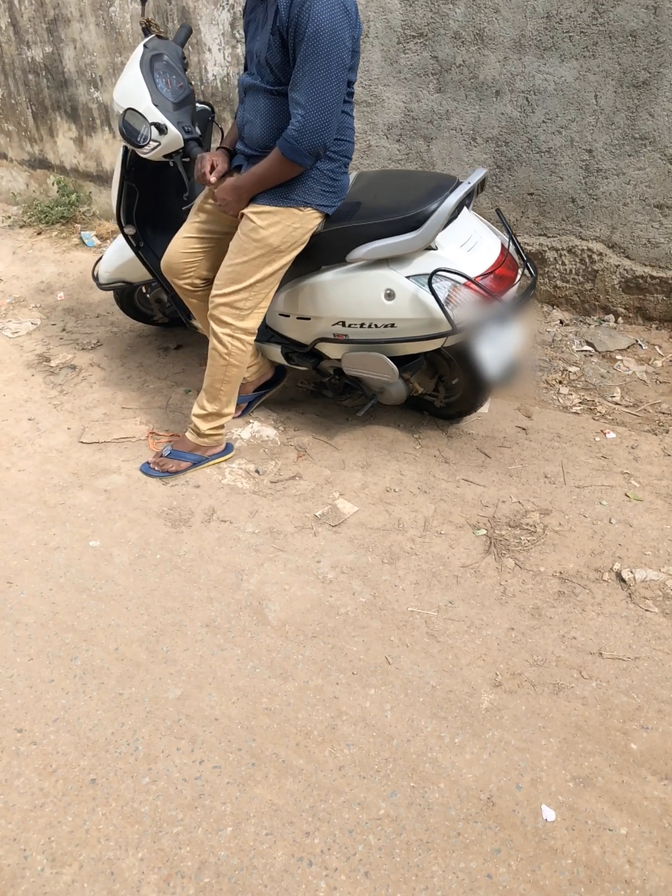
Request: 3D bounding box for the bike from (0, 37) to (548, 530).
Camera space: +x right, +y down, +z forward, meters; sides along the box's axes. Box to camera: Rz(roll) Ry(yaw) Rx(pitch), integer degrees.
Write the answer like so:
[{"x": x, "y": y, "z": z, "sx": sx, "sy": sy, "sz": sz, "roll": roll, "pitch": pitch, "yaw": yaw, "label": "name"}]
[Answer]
[{"x": -0.338, "y": -0.612, "z": 2.355, "sx": 1.623, "sy": 1.139, "sz": 0.673, "roll": 18, "pitch": 39, "yaw": 26, "label": "bike"}]
